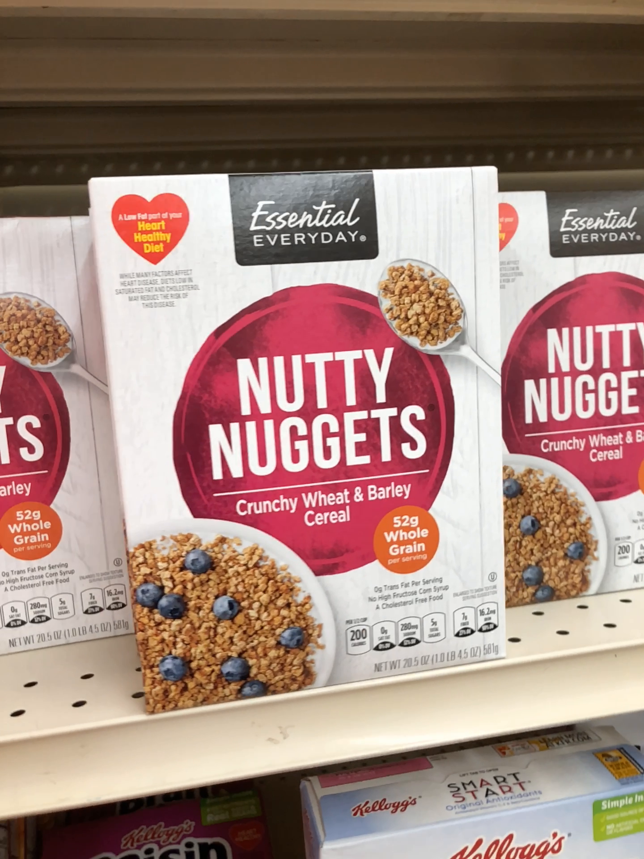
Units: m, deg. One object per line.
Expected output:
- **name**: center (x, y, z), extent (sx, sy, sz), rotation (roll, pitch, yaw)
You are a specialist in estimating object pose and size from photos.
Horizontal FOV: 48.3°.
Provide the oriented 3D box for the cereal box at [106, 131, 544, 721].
- **cereal box**: center (0.006, -0.005, 0.320), extent (0.170, 0.230, 0.050), rotation (-5, 8, -11)
